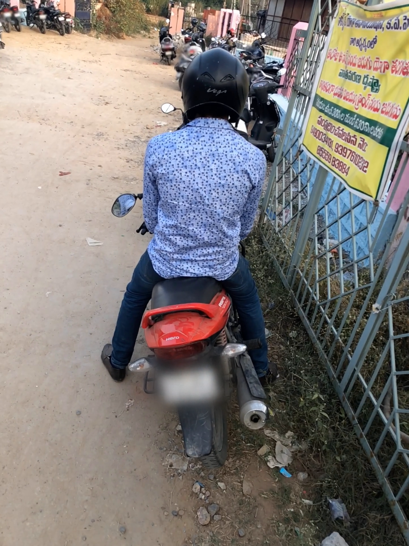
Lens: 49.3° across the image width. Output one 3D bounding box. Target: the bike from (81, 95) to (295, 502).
[{"bbox_3d":[-0.247,-0.037,2.238,0.582,1.175,1.698,3,32,-12],"label":"bike"}]
